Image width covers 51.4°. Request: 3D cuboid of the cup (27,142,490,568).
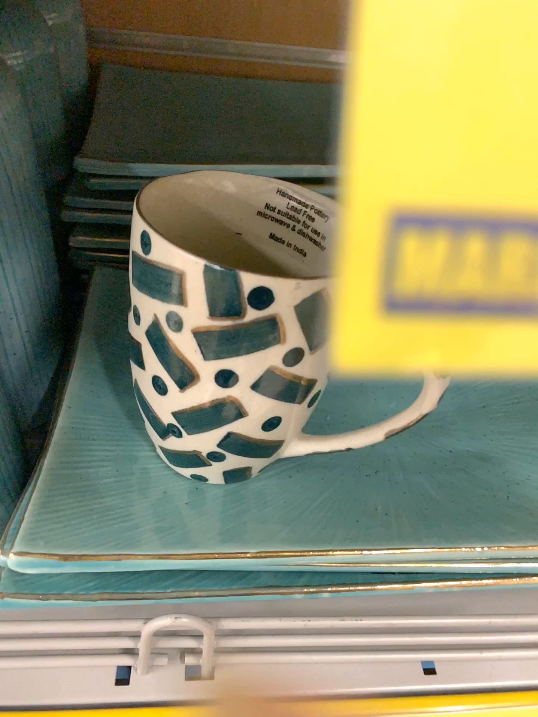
[{"bbox_3d":[-0.003,-0.006,0.182,0.110,0.080,0.080,17,35,4],"label":"cup"}]
